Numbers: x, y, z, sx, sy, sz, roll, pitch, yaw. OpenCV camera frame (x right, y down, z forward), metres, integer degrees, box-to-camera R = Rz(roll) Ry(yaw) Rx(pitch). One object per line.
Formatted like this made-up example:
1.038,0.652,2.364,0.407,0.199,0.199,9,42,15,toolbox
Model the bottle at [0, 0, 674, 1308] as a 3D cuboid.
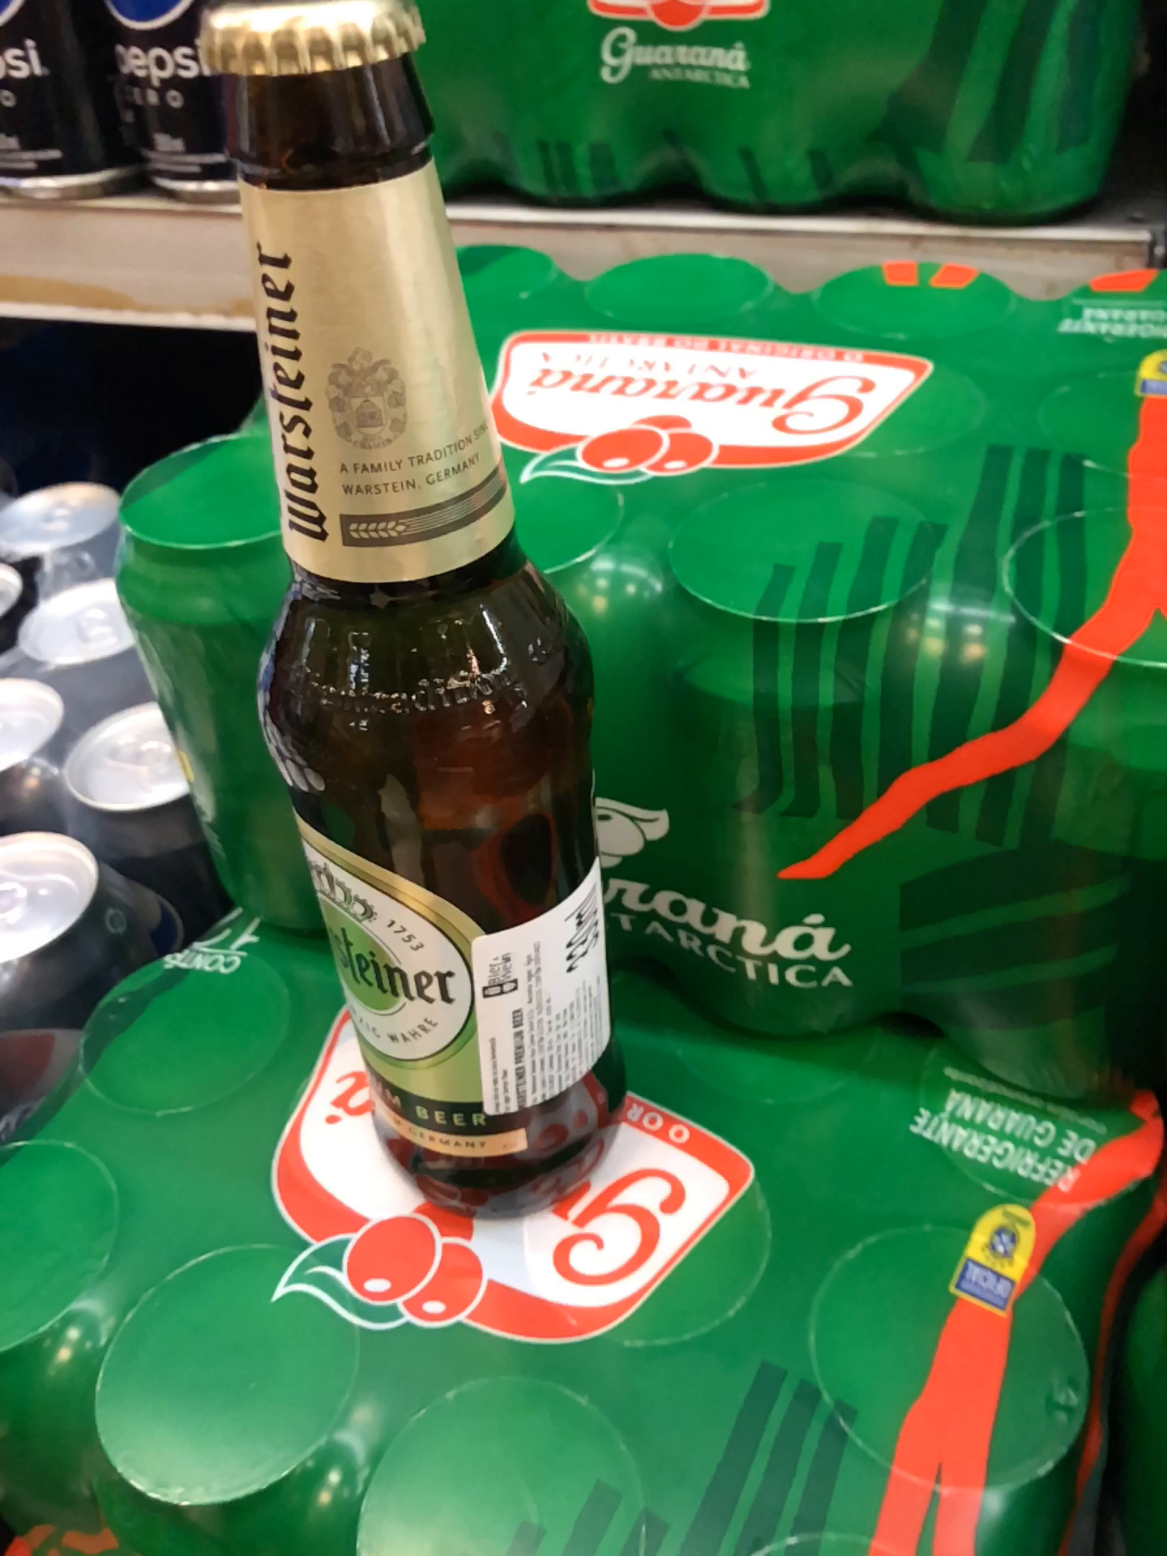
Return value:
-0.034,-0.009,0.229,0.060,0.228,0.070,-30,46,-26,bottle
